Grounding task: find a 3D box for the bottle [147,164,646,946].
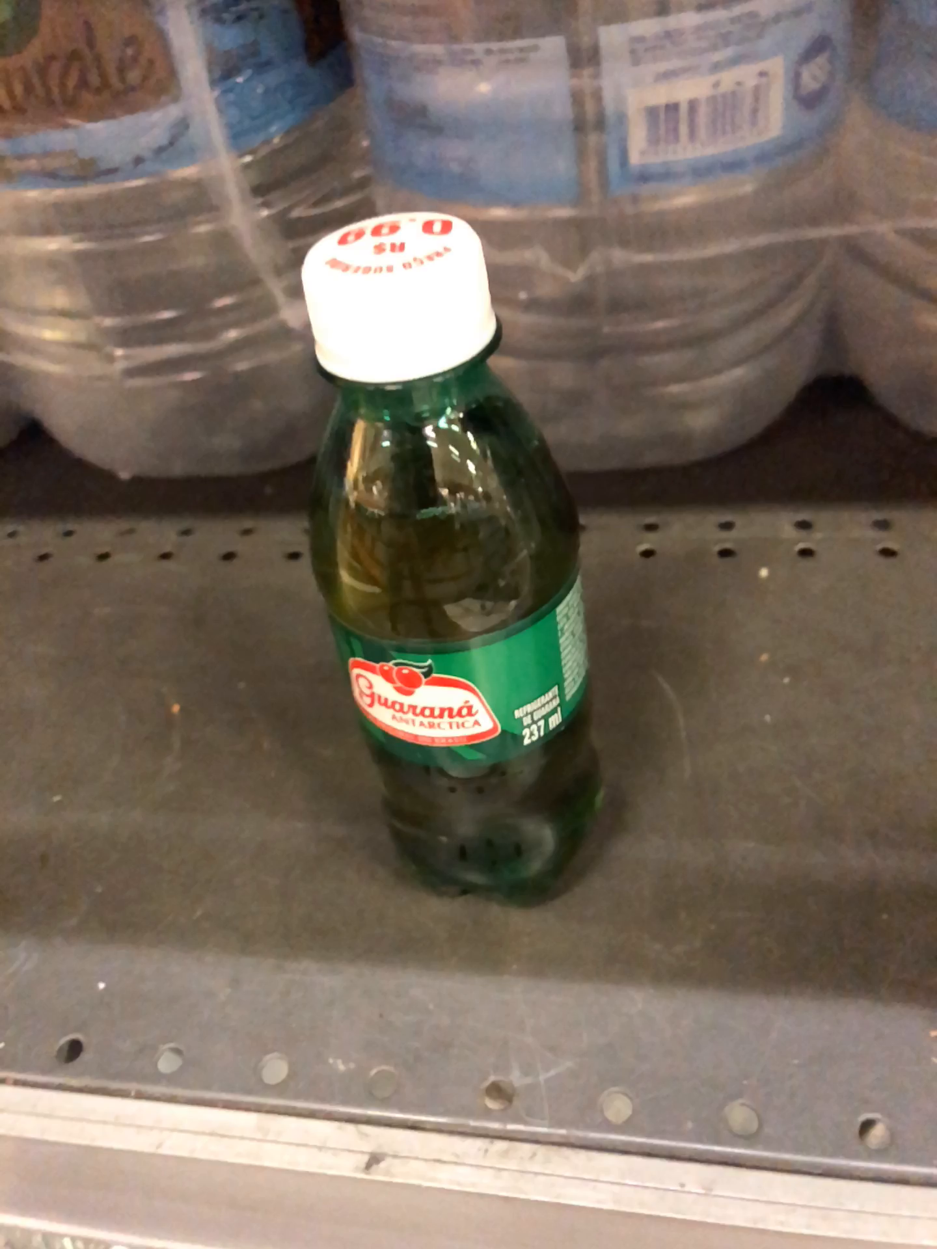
[{"bbox_3d":[0.000,-0.006,0.216,0.060,0.149,0.060,-6,42,5],"label":"bottle"}]
